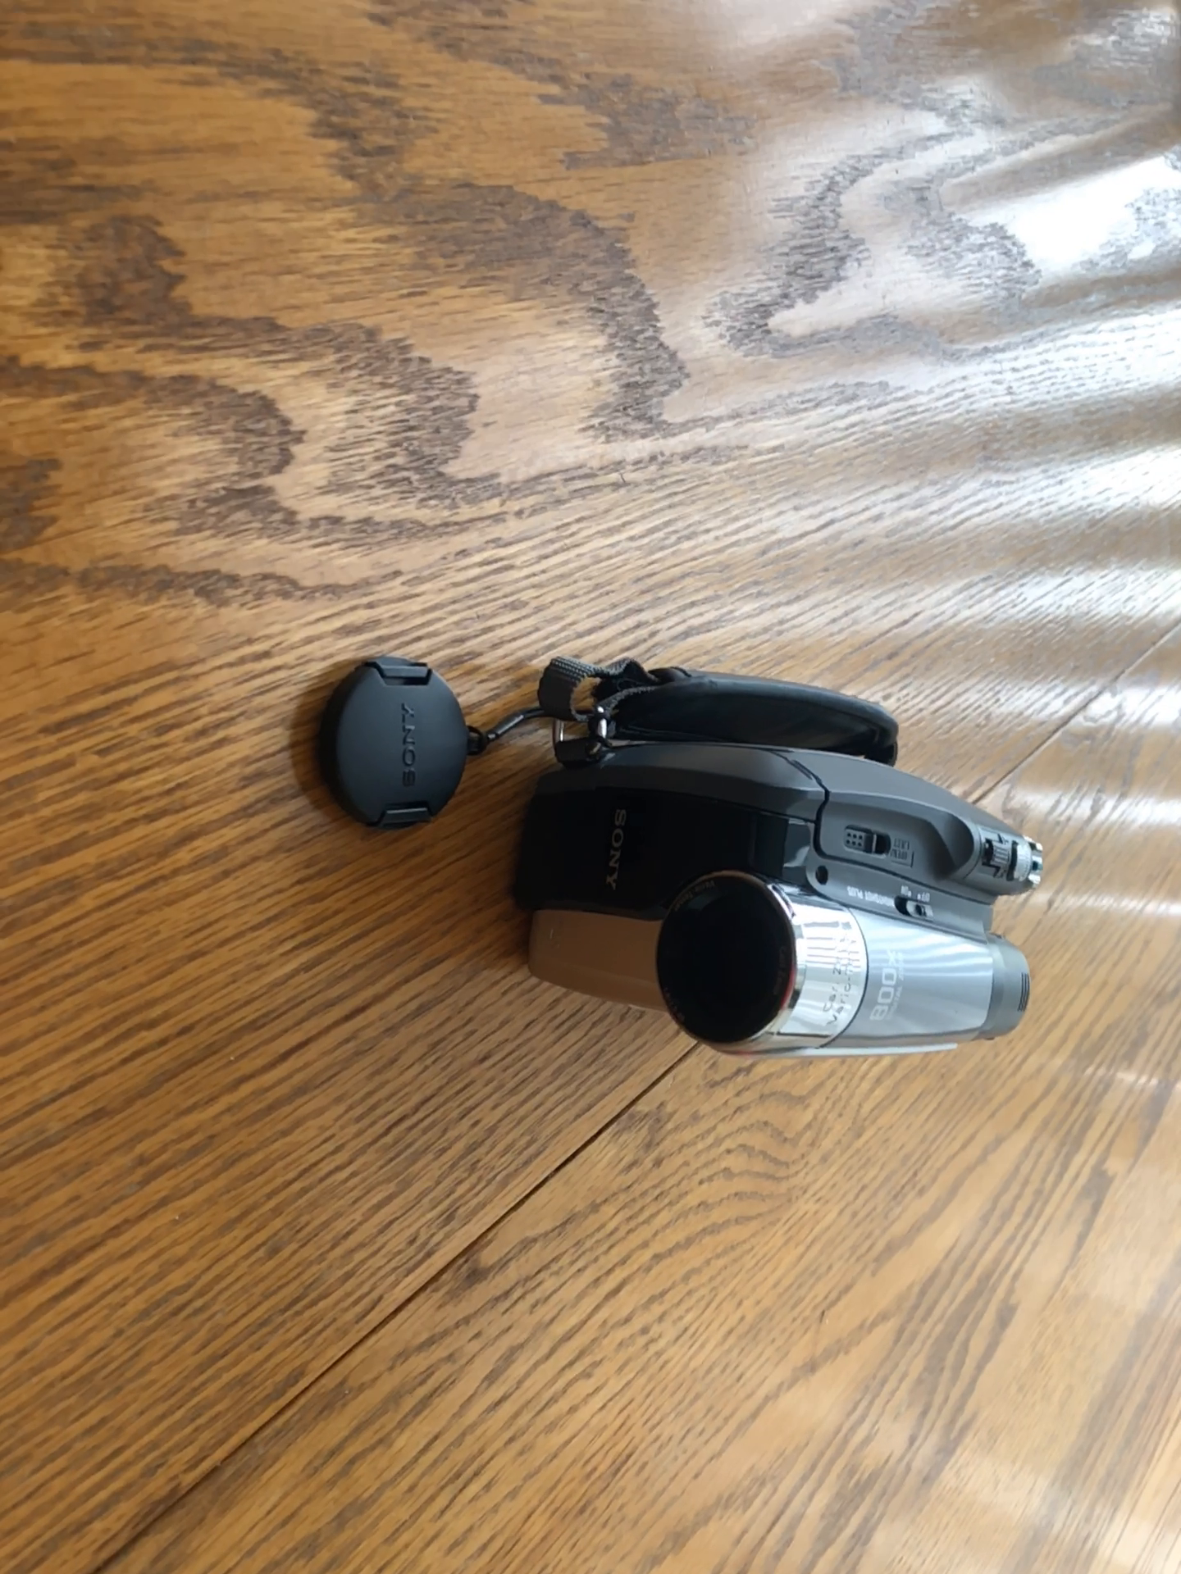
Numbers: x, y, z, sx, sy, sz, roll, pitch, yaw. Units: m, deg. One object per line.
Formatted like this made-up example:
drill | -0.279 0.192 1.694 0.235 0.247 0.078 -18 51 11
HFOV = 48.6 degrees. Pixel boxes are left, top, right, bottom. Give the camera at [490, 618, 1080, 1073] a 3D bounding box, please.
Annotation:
camera | 0.048 0.015 0.292 0.112 0.072 0.080 12 84 -48
